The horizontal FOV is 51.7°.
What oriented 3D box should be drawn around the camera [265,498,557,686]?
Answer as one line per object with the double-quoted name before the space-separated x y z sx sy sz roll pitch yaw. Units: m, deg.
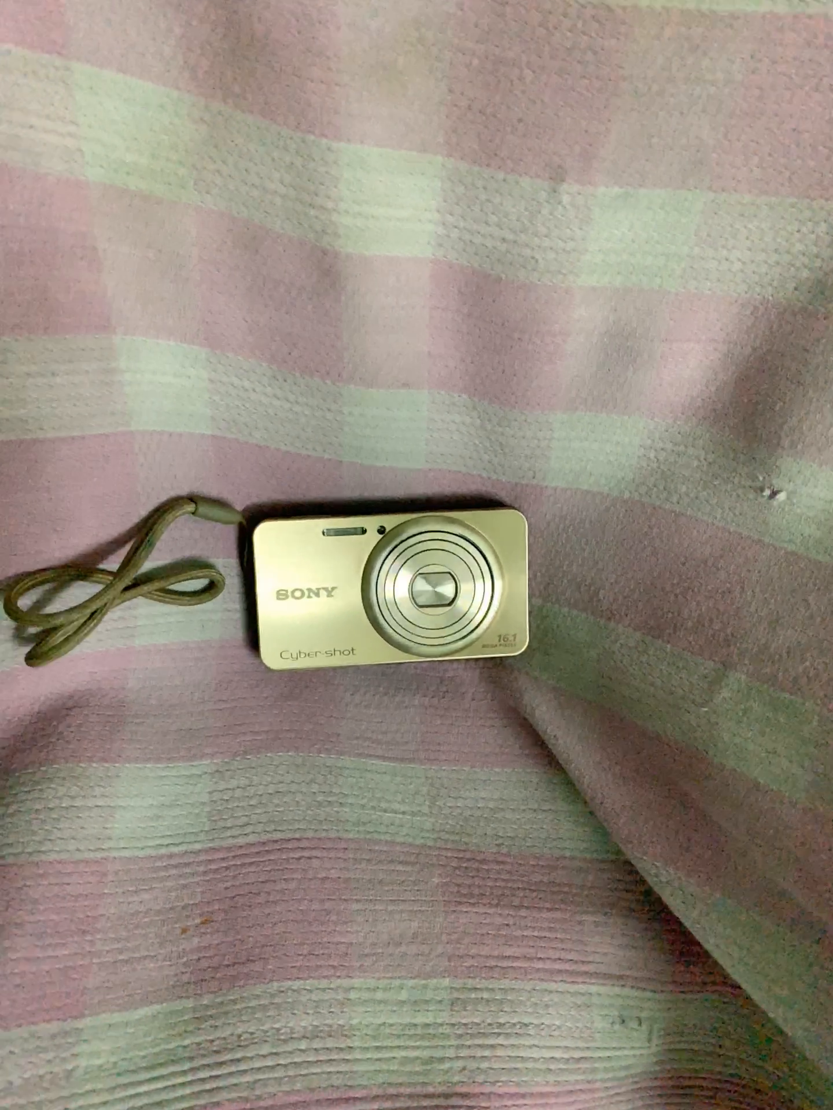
"camera" -0.002 0.011 0.288 0.091 0.027 0.053 -4 98 -5
